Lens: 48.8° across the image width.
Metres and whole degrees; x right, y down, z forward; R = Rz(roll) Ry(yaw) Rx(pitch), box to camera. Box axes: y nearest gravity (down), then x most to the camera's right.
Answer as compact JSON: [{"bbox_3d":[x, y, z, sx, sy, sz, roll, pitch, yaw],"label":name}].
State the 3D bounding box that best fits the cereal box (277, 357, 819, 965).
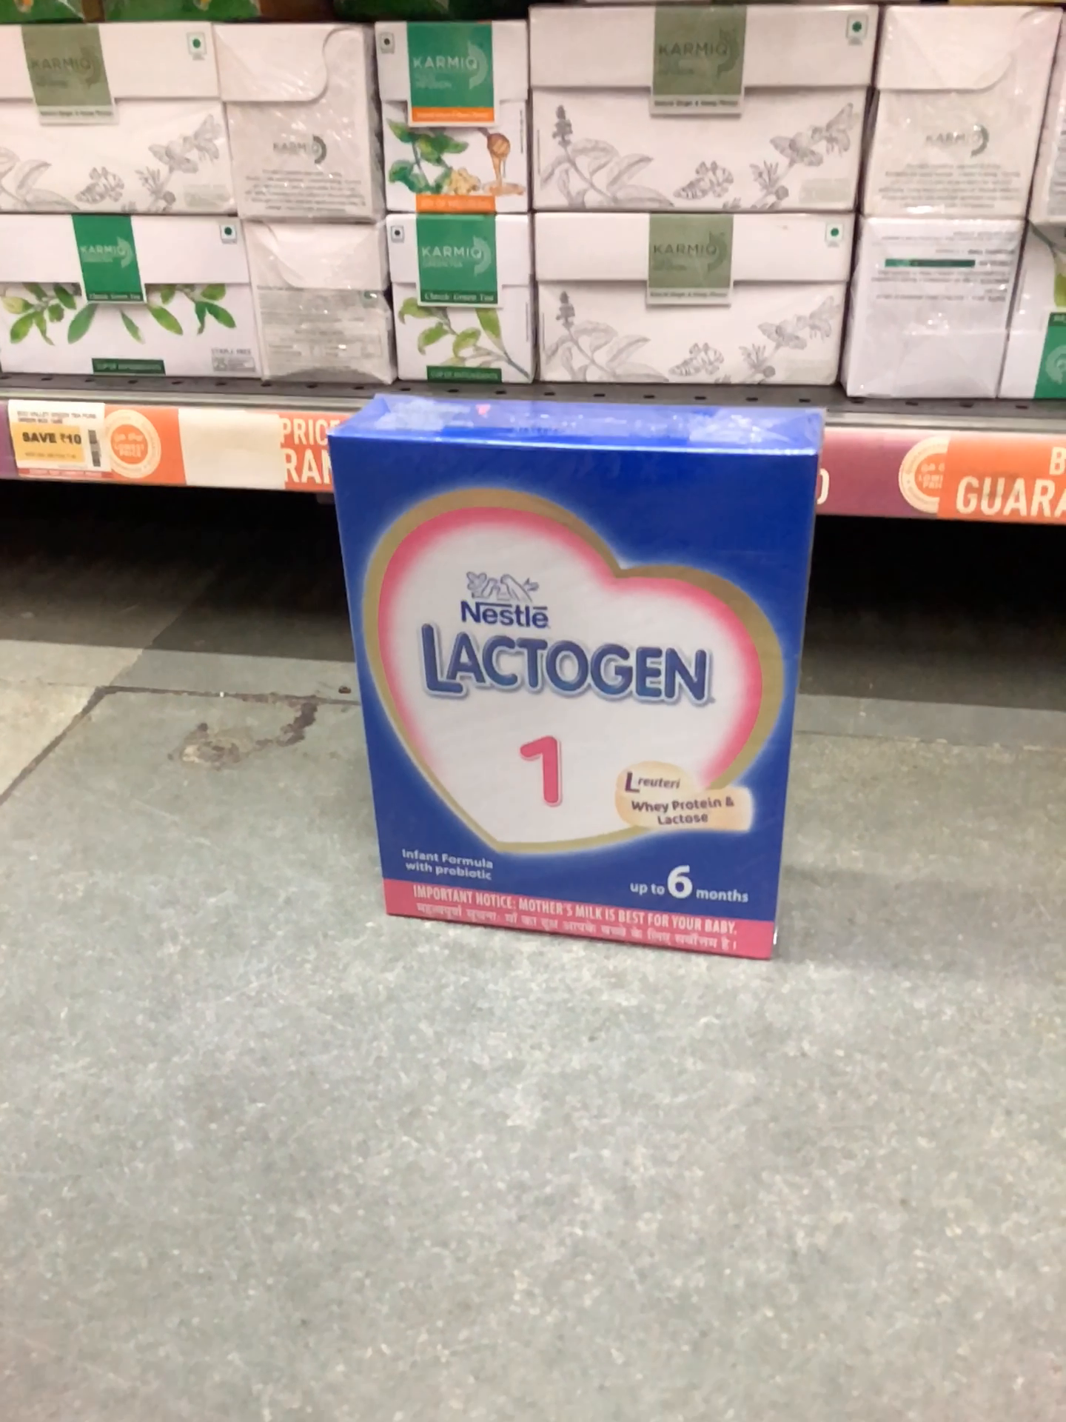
[{"bbox_3d":[0.009,-0.014,0.410,0.160,0.199,0.050,5,30,11],"label":"cereal box"}]
